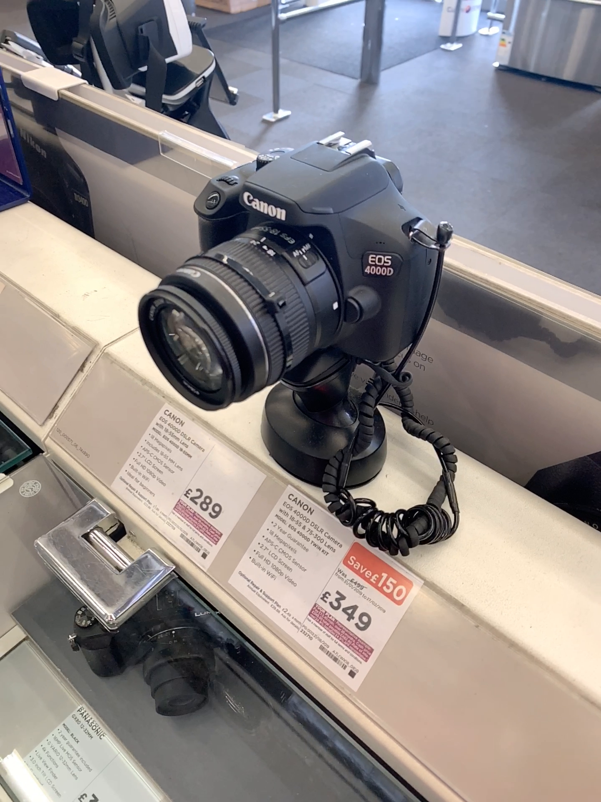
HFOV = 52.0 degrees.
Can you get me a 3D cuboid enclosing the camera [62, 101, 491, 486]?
[{"bbox_3d":[-0.012,-0.066,0.315,0.136,0.101,0.141,-34,54,-31],"label":"camera"}]
